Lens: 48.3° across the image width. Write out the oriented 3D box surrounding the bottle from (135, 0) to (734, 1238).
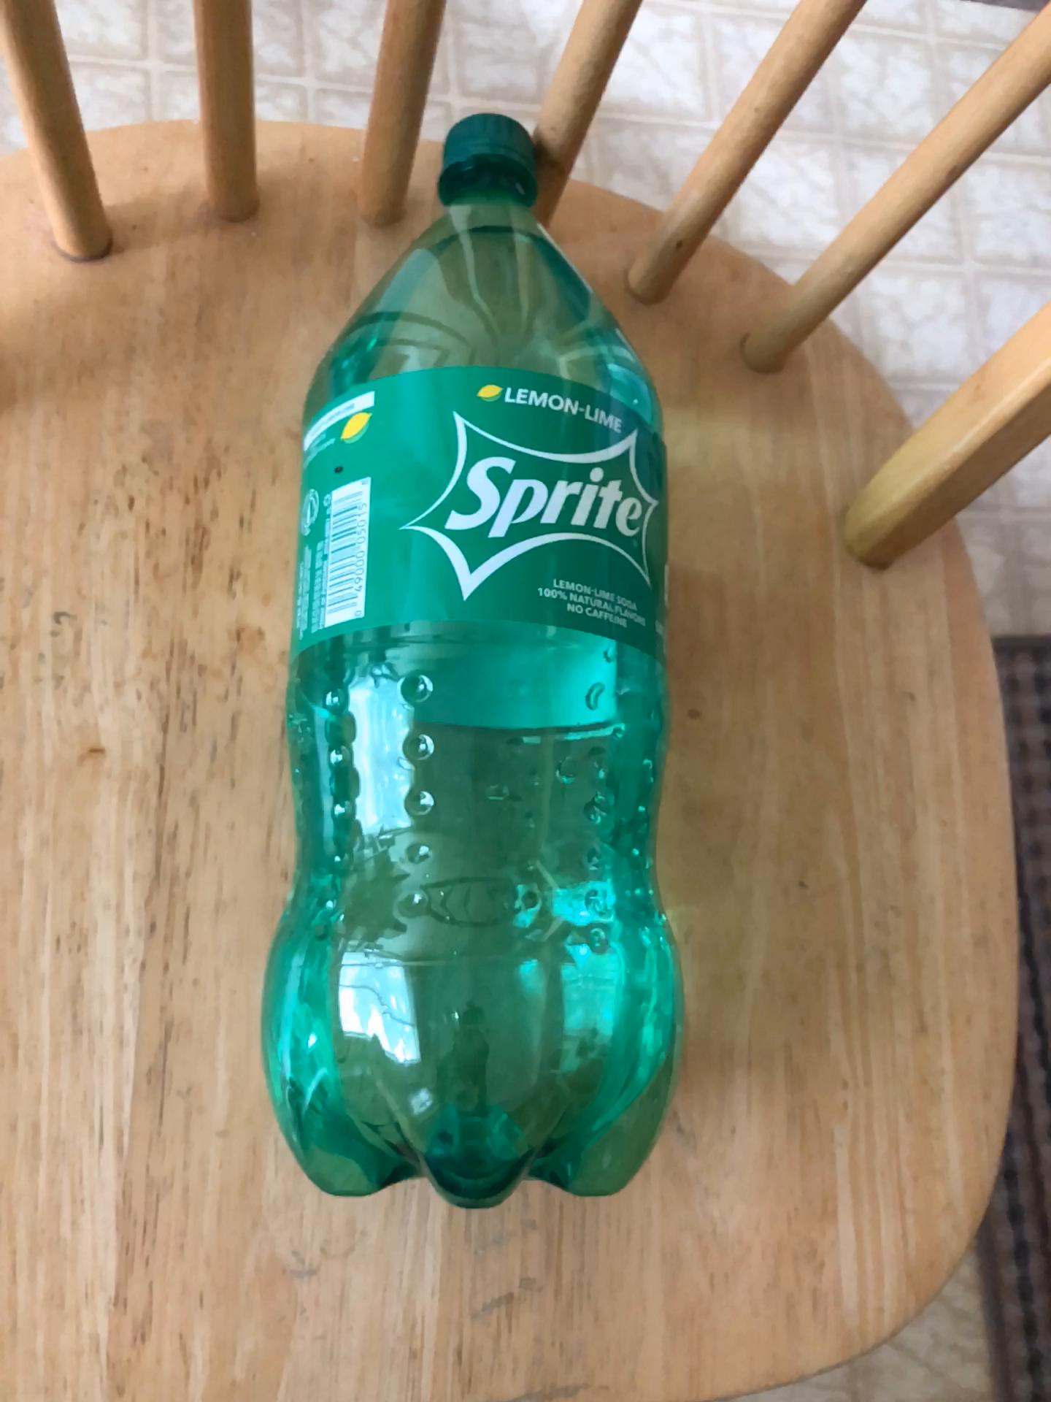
[{"bbox_3d":[-0.029,-0.032,0.315,0.110,0.110,0.300,6,74,-24],"label":"bottle"}]
